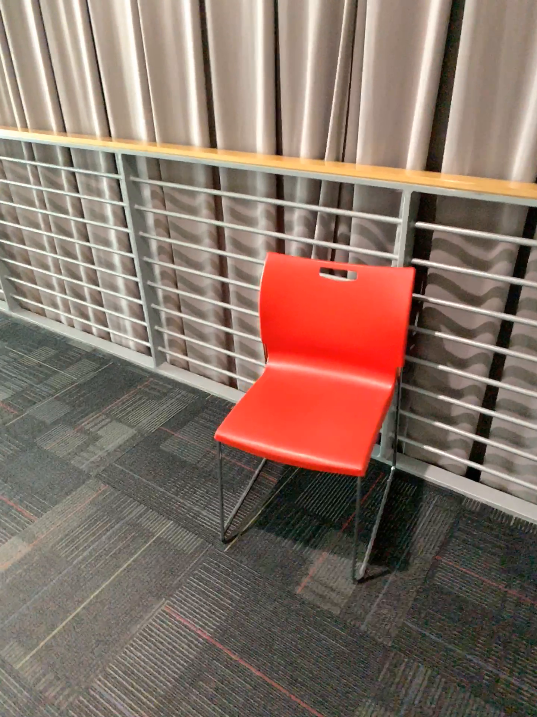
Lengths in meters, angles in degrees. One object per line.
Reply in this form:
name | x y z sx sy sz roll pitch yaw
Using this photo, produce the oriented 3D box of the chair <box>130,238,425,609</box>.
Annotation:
chair | 0.084 0.167 1.778 0.631 0.854 0.663 11 36 21
